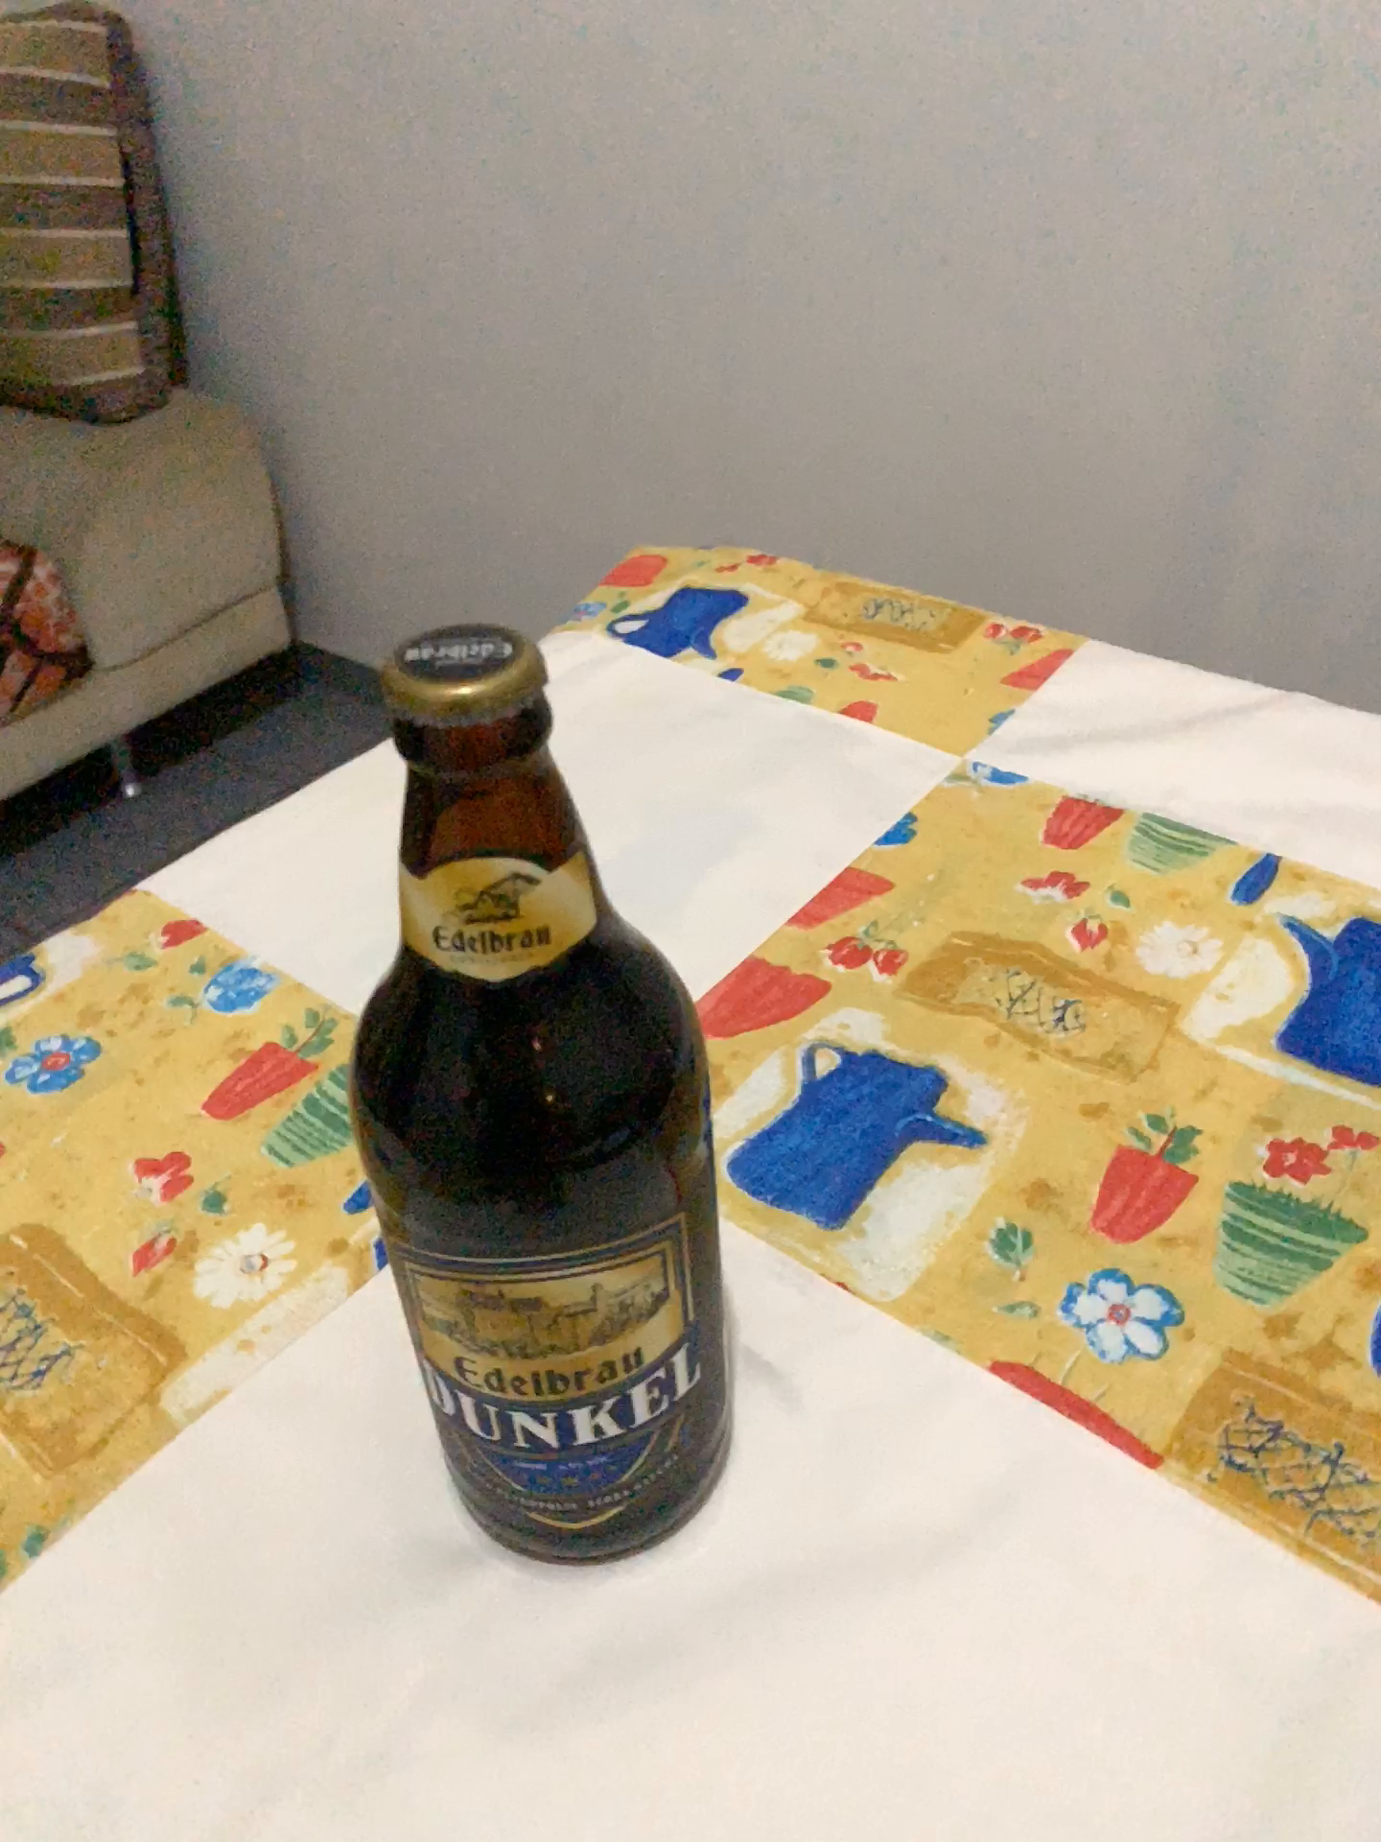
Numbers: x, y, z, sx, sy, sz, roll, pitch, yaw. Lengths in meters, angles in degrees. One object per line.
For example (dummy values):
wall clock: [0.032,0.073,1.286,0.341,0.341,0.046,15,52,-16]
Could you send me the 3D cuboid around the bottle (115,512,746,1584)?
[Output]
bottle: [-0.036,0.039,0.296,0.080,0.219,0.080,-3,37,2]
